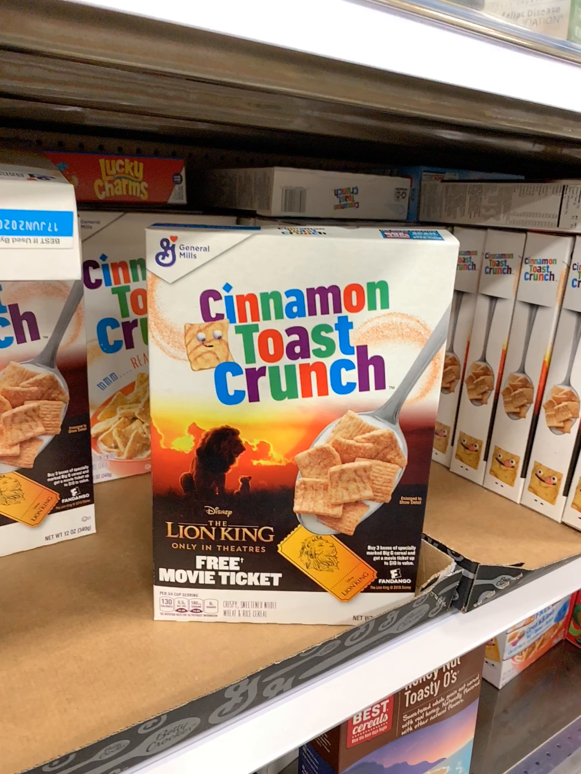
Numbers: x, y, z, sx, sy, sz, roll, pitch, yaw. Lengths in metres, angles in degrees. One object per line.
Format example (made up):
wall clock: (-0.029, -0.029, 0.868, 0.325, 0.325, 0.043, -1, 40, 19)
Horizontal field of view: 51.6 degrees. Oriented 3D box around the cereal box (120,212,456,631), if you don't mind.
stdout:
cereal box: (-0.007, 0.030, 0.412, 0.190, 0.279, 0.060, 2, 18, -2)
